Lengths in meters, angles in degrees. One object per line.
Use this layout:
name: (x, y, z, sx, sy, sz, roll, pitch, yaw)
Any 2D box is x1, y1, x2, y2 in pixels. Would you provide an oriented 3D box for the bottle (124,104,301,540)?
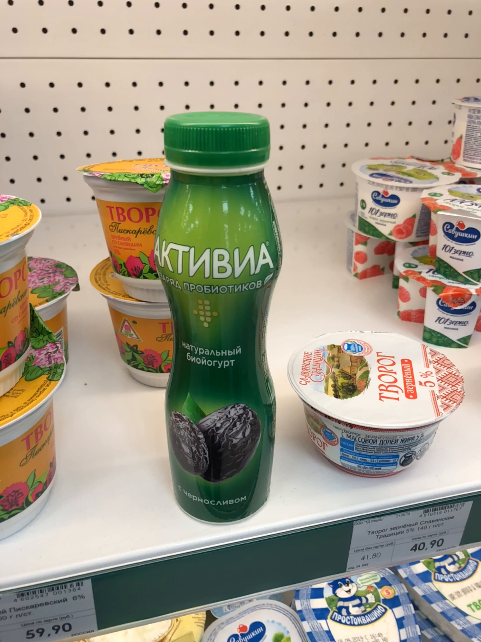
bottle: (-0.008, 0.007, 0.238, 0.050, 0.185, 0.054, 0, 28, 0)
